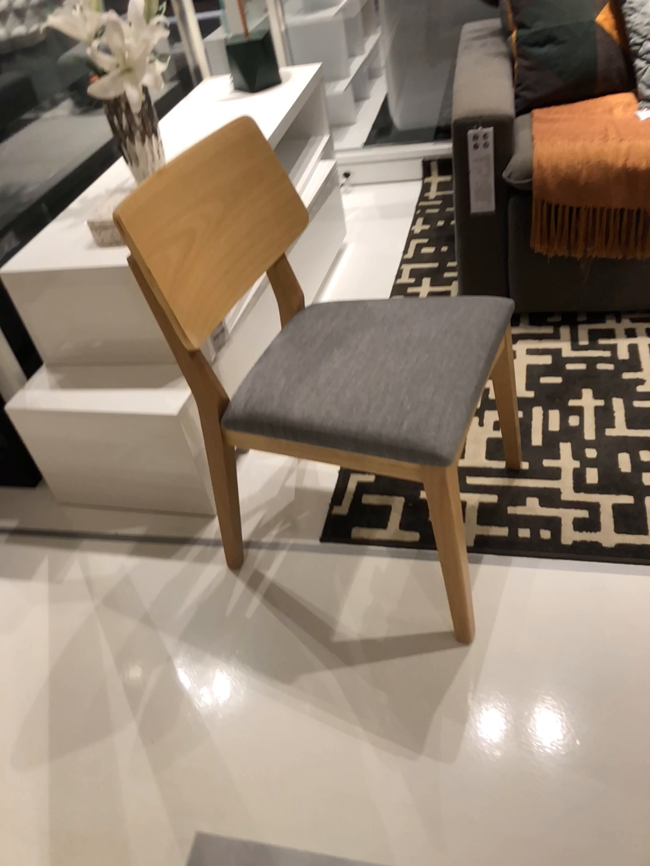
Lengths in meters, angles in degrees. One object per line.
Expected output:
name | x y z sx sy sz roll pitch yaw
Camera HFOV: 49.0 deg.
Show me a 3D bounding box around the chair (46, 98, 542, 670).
chair | 0.044 -0.092 1.307 0.581 0.793 0.544 8 43 22
